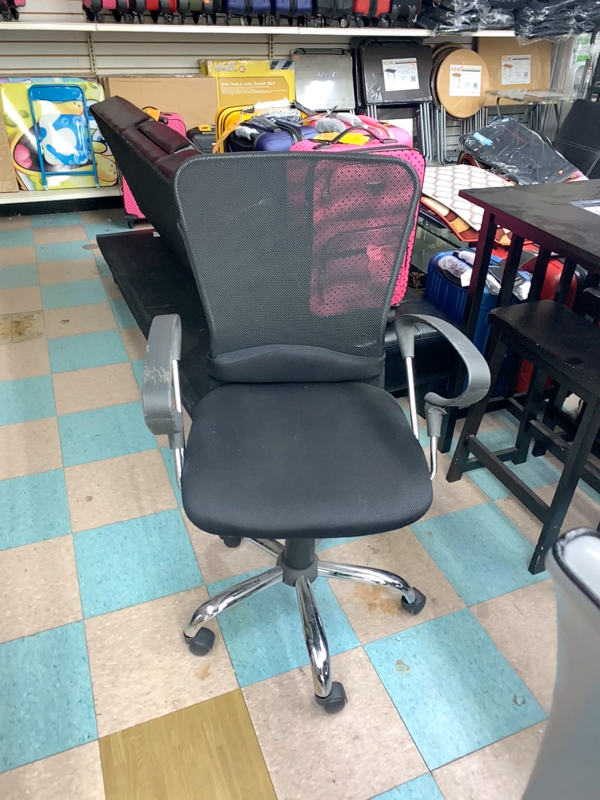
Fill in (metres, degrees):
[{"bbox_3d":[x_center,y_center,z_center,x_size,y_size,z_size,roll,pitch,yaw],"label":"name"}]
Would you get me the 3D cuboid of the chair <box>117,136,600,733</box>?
[{"bbox_3d":[0.066,0.080,1.226,0.620,1.019,0.603,-2,35,-5],"label":"chair"}]
